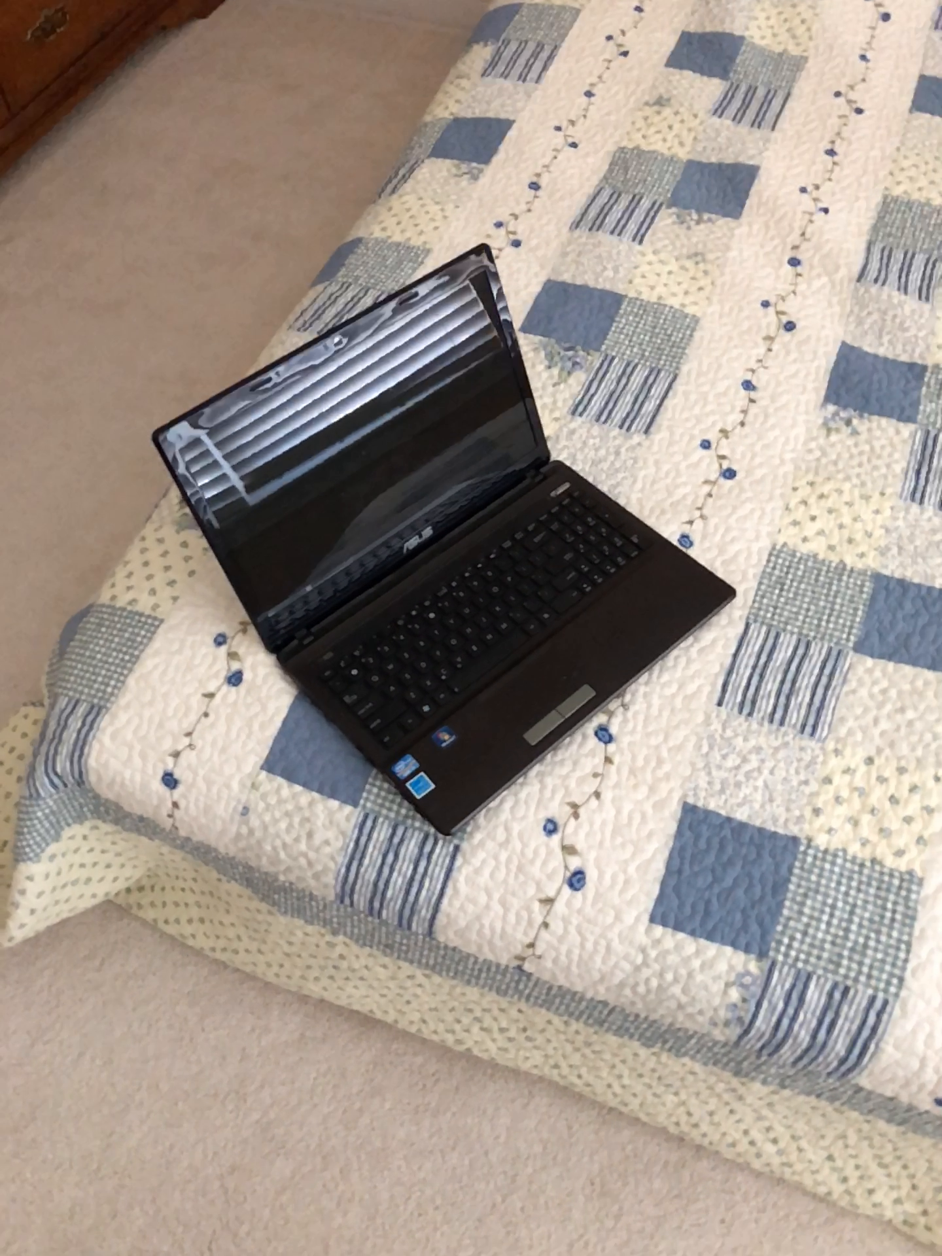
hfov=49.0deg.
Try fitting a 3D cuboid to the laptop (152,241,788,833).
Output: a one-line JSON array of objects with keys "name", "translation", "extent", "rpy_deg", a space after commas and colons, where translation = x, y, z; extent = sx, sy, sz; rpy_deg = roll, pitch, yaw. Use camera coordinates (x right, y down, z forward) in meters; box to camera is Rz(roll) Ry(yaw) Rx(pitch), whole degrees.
[{"name": "laptop", "translation": [-0.002, -0.096, 0.895], "extent": [0.358, 0.193, 0.351], "rpy_deg": [-37, 63, -21]}]
